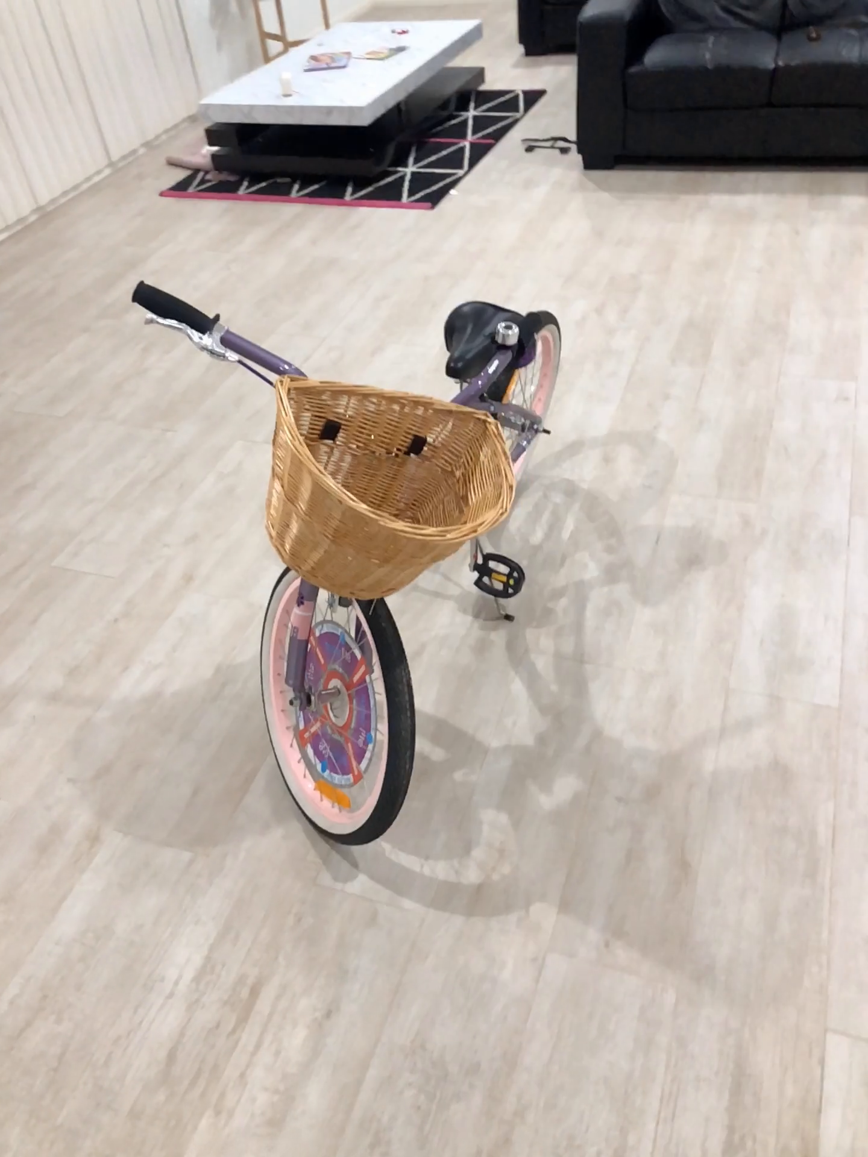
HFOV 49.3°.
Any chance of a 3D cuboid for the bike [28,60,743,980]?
[{"bbox_3d":[0.071,-0.197,1.705,0.747,0.877,1.221,8,47,17],"label":"bike"}]
